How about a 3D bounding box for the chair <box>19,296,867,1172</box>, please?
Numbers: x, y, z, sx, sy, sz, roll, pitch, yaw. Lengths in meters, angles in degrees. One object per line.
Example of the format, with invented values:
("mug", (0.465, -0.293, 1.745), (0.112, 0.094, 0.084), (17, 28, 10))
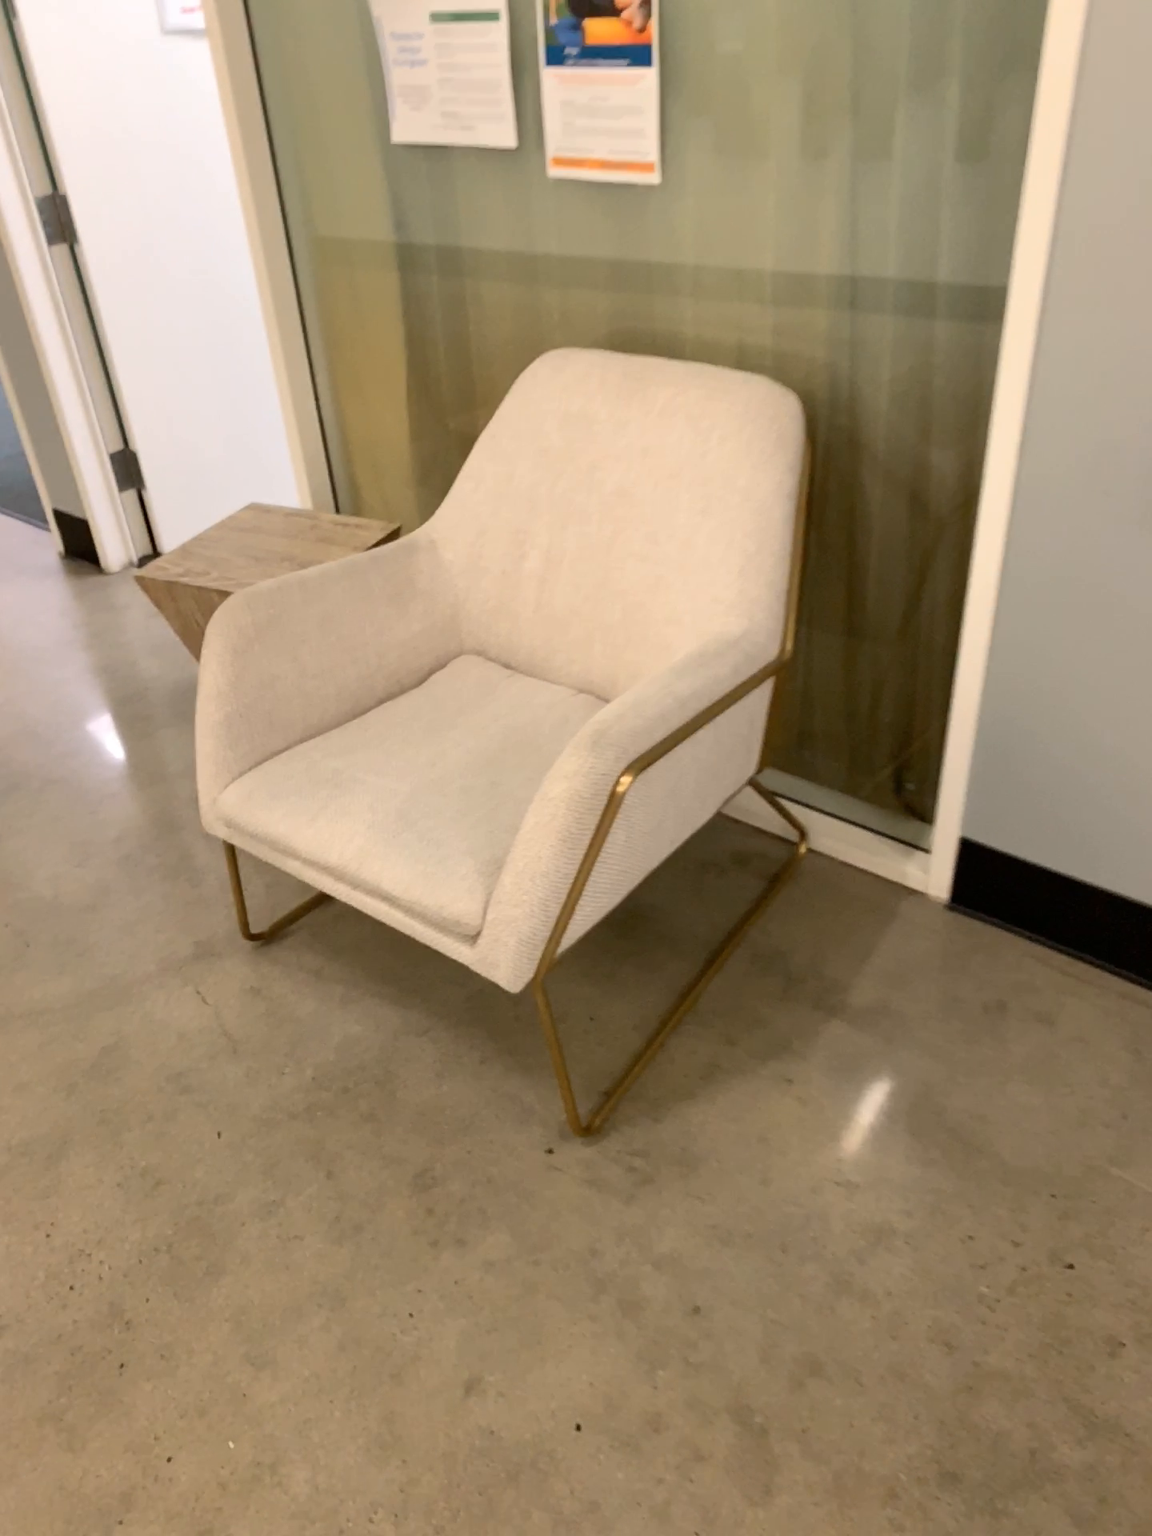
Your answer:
("chair", (-0.128, -0.126, 1.768), (0.783, 0.865, 0.772), (20, 41, 30))
